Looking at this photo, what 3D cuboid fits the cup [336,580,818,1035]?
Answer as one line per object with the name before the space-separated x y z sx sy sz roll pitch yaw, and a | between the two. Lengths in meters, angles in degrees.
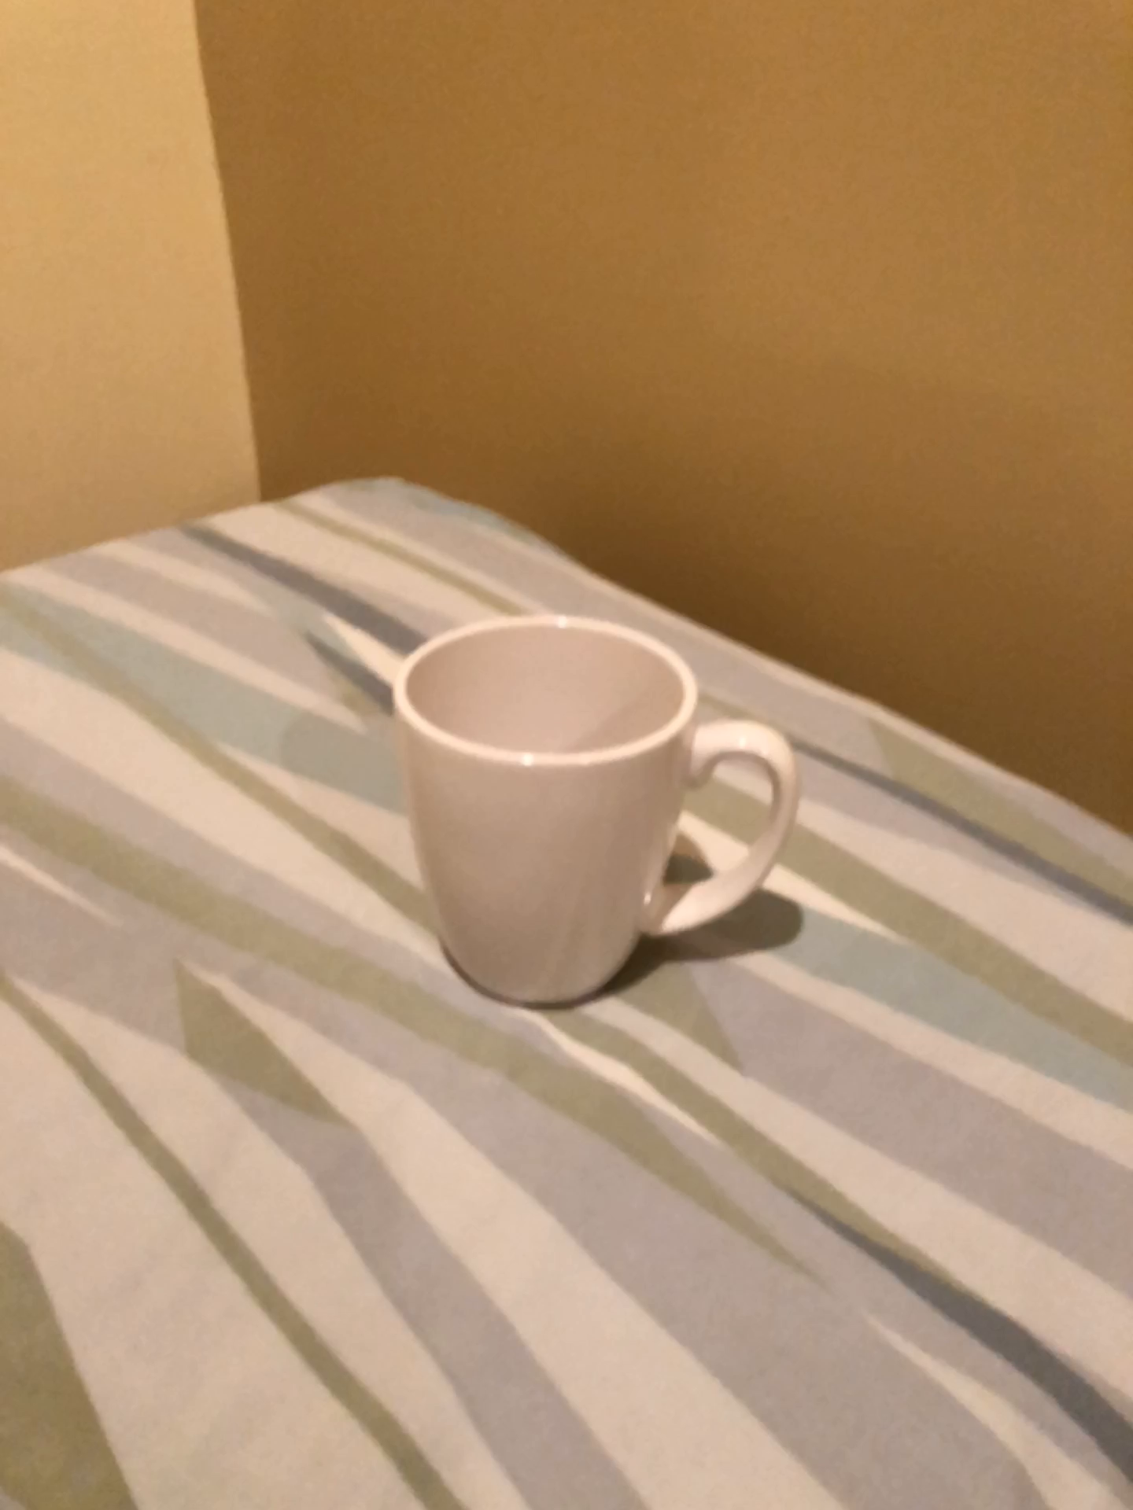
cup | 0.007 0.012 0.367 0.120 0.090 0.090 4 33 7
